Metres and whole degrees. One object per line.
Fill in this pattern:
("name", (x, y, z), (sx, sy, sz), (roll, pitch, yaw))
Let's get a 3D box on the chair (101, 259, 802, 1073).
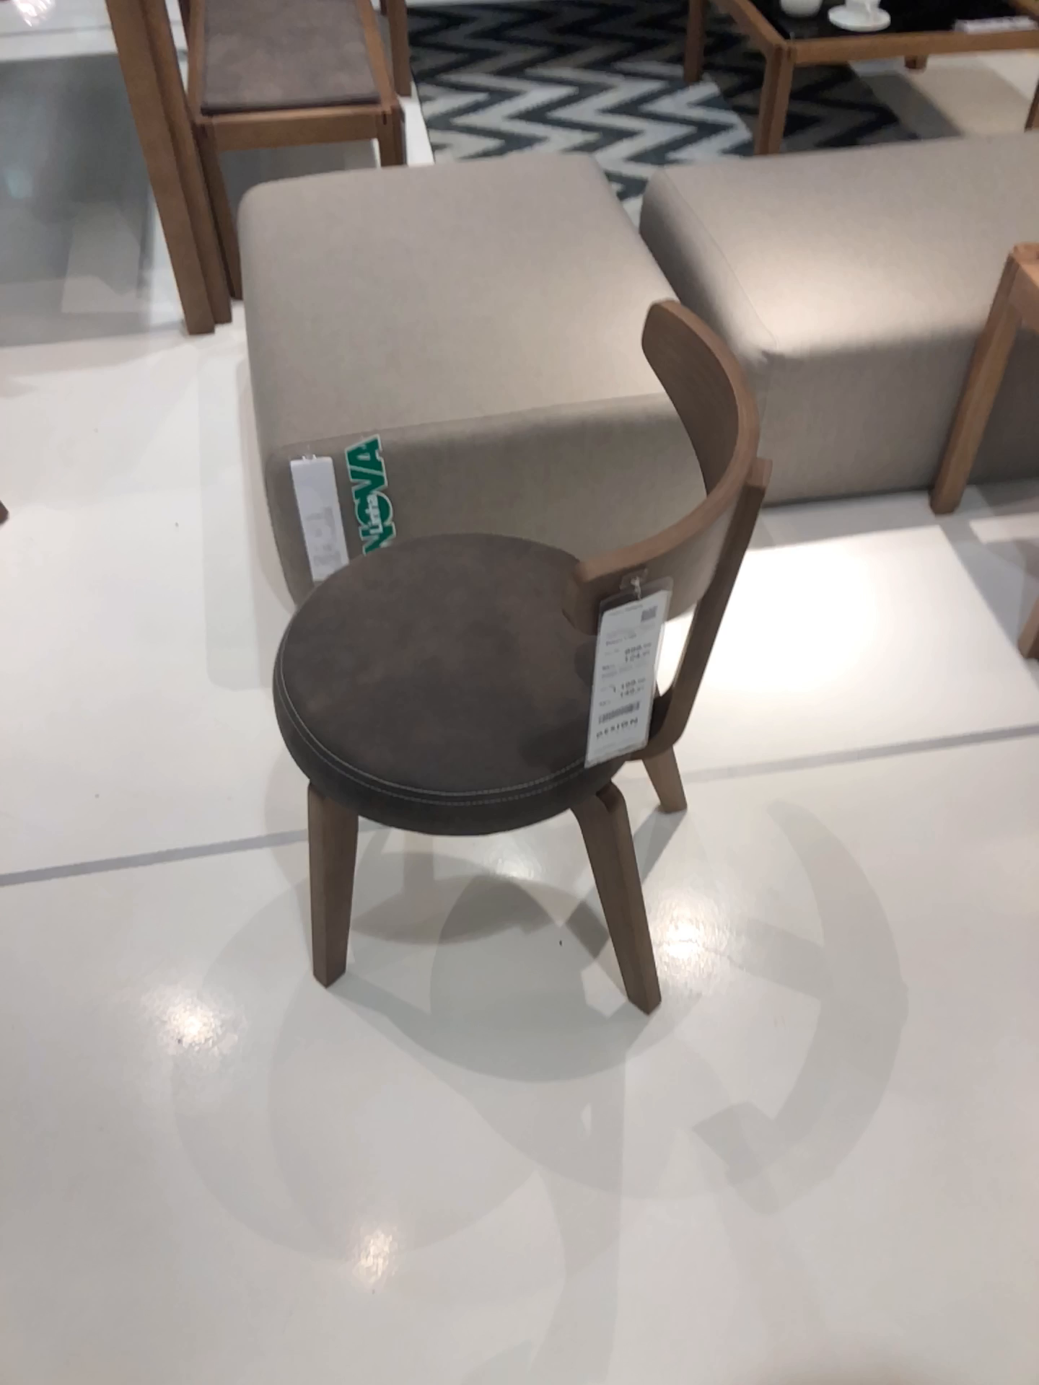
("chair", (-0.020, -0.013, 1.298), (0.520, 0.705, 0.503), (10, 48, 10))
